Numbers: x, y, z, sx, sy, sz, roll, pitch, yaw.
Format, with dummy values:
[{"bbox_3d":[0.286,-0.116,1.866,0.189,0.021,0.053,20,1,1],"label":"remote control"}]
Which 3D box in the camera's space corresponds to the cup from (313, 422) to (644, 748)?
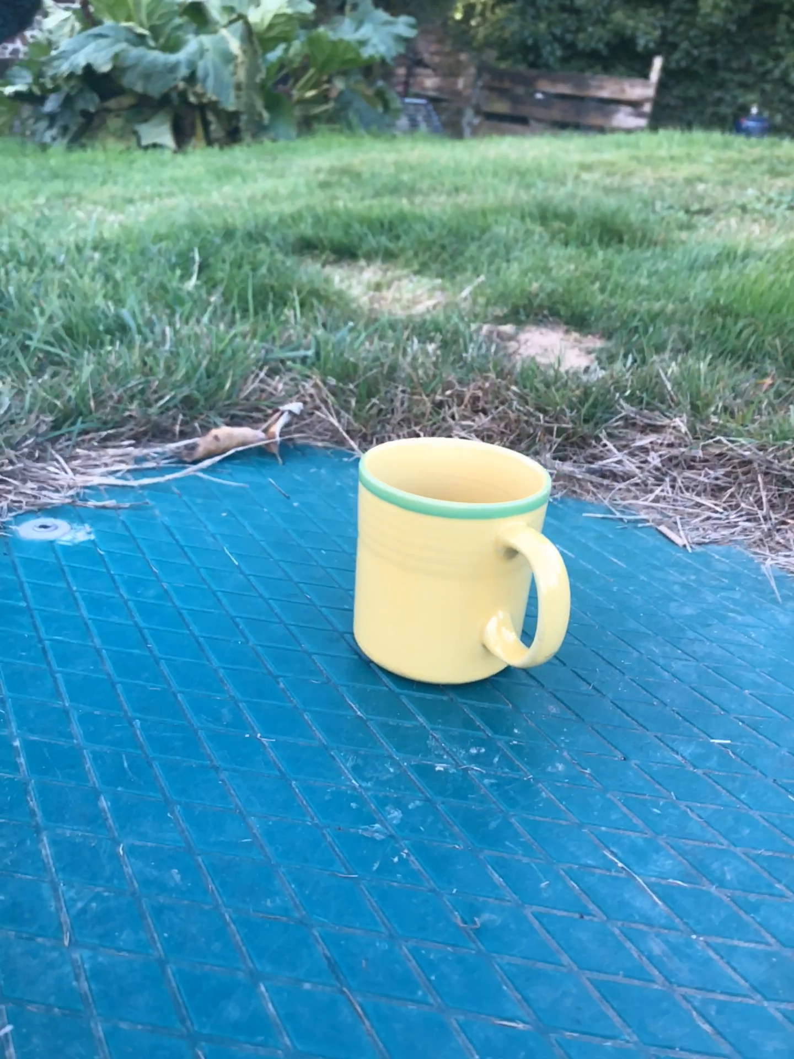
[{"bbox_3d":[0.029,0.015,0.389,0.086,0.090,0.115,-12,27,-32],"label":"cup"}]
